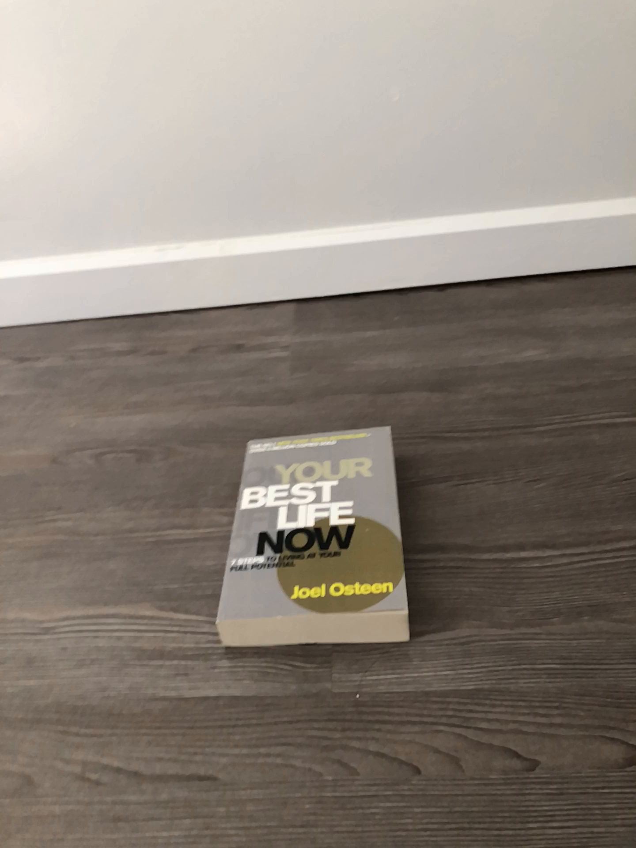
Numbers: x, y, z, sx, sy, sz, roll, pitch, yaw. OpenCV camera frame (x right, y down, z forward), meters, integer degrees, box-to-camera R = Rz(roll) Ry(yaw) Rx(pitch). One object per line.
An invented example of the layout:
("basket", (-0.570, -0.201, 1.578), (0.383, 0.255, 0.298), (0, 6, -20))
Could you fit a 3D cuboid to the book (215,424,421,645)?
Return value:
("book", (0.003, 0.077, 0.552), (0.136, 0.030, 0.202), (-3, 36, 5))
